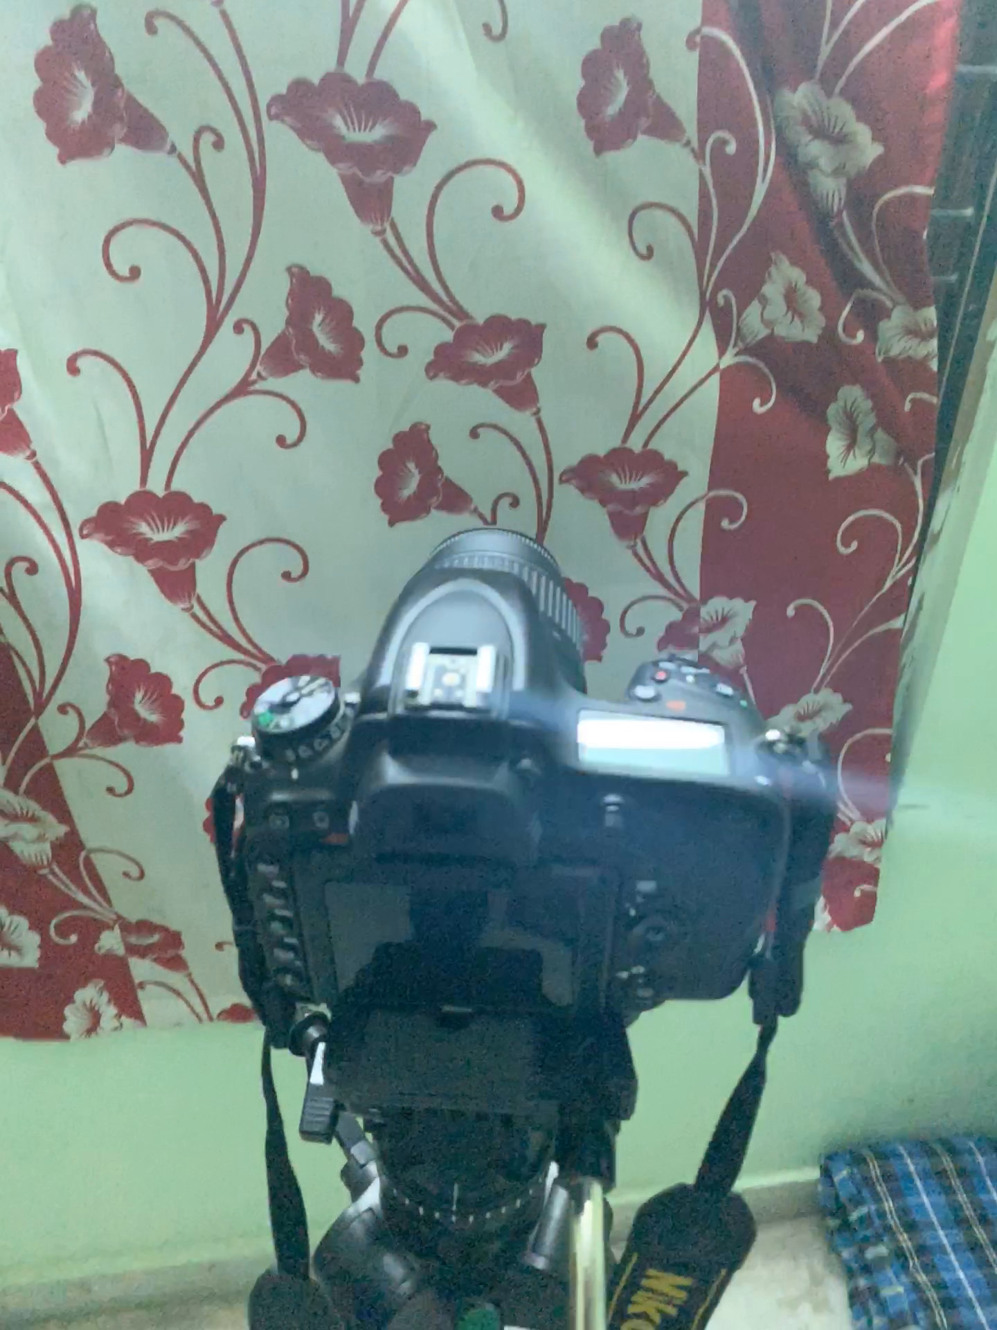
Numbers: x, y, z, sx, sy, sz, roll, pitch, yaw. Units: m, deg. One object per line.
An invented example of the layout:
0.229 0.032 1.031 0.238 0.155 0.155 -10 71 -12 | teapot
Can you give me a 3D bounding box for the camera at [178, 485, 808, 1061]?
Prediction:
0.000 0.024 0.309 0.139 0.112 0.130 2 30 2 | camera
